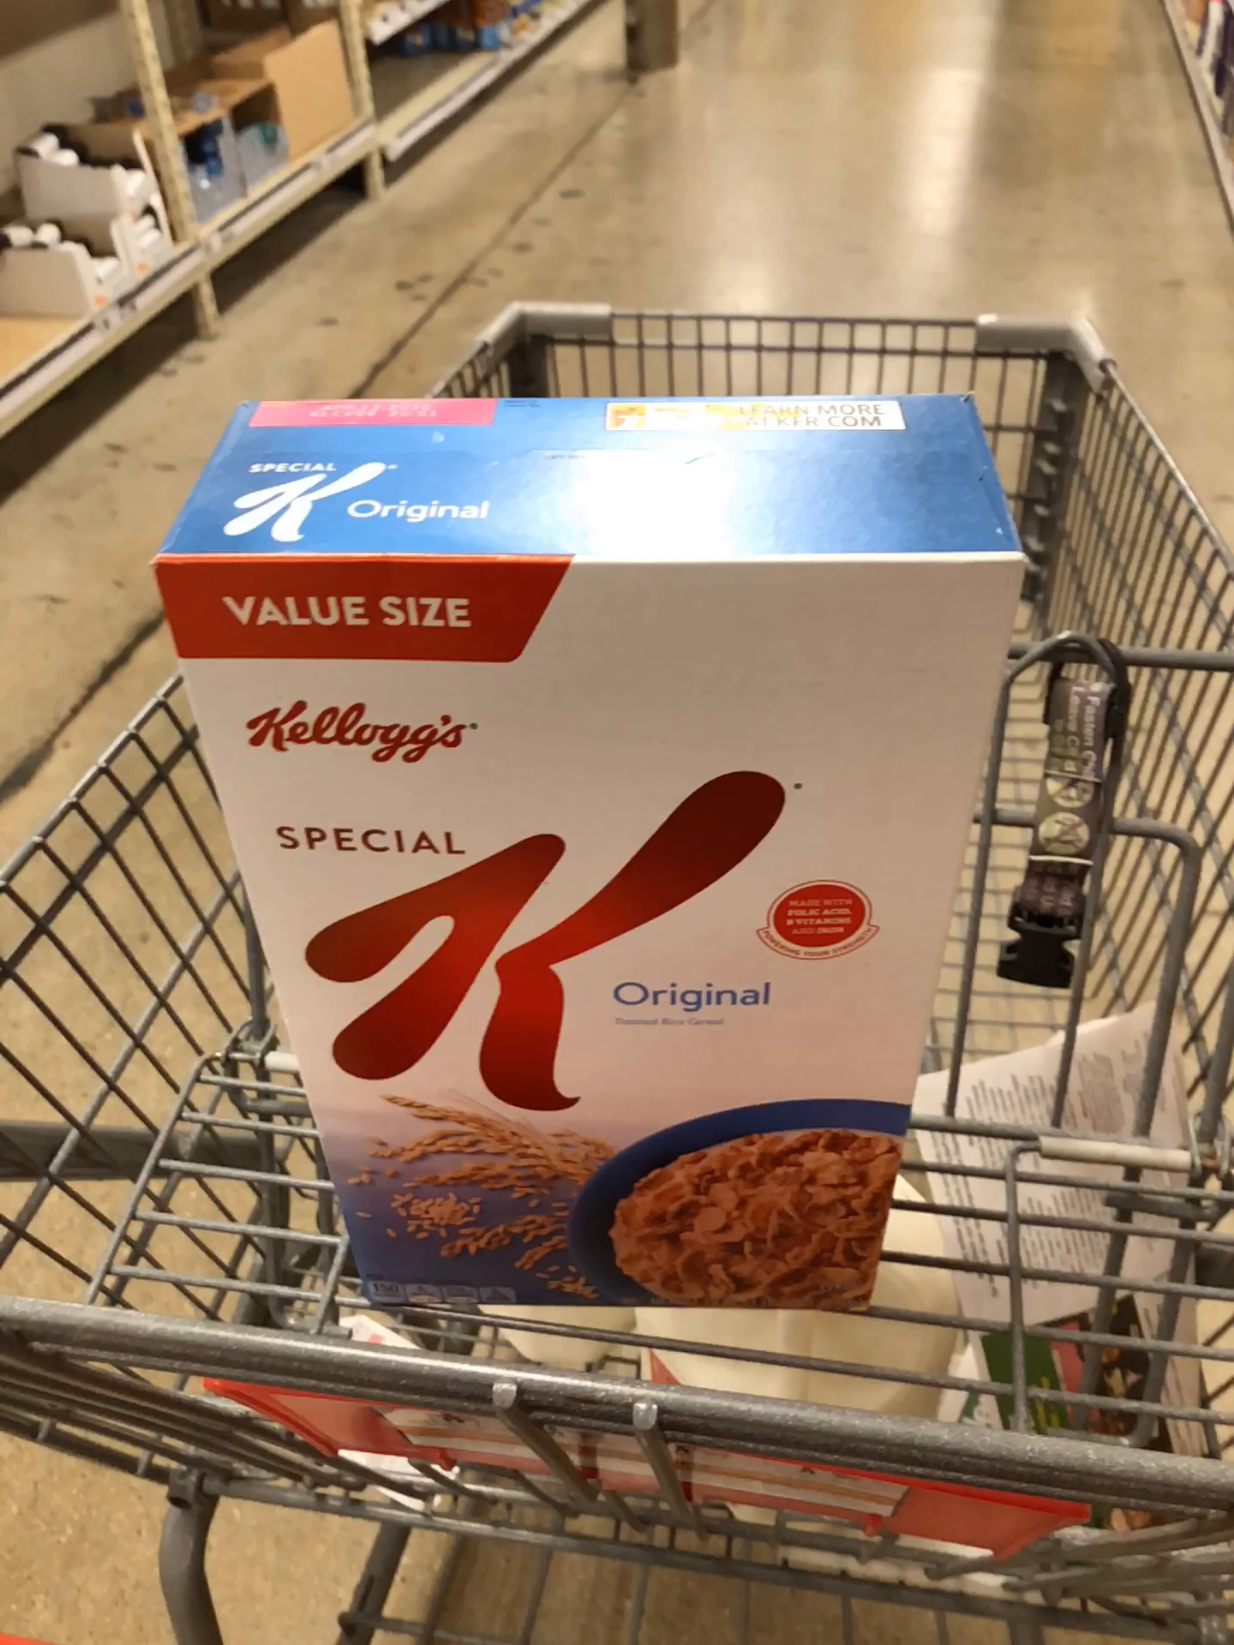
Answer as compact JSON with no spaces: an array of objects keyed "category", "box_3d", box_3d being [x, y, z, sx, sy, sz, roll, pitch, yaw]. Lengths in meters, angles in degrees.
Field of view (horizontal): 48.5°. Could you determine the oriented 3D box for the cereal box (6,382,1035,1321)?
[{"category":"cereal box","box_3d":[-0.014,0.033,0.442,0.230,0.329,0.080,2,42,6]}]
